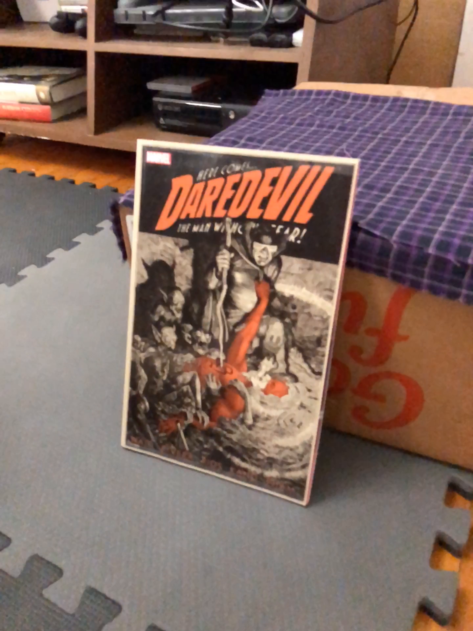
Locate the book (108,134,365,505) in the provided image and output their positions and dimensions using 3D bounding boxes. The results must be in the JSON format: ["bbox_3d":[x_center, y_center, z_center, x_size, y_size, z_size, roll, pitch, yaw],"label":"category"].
[{"bbox_3d":[-0.012,0.002,0.359,0.160,0.229,0.020,12,16,19],"label":"book"}]
